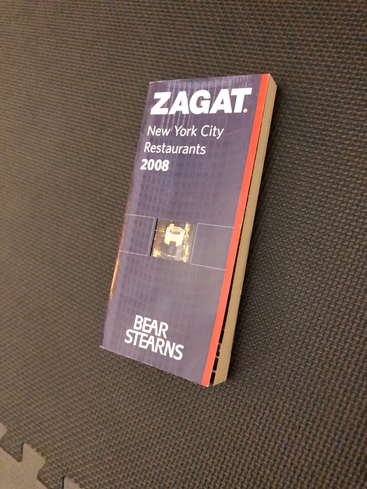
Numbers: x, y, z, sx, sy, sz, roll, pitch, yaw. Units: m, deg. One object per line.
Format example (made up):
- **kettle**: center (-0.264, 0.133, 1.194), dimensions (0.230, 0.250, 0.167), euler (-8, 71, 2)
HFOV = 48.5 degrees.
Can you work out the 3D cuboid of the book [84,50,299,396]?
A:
- **book**: center (0.003, -0.022, 0.296), dimensions (0.120, 0.030, 0.220), euler (8, 87, 28)
